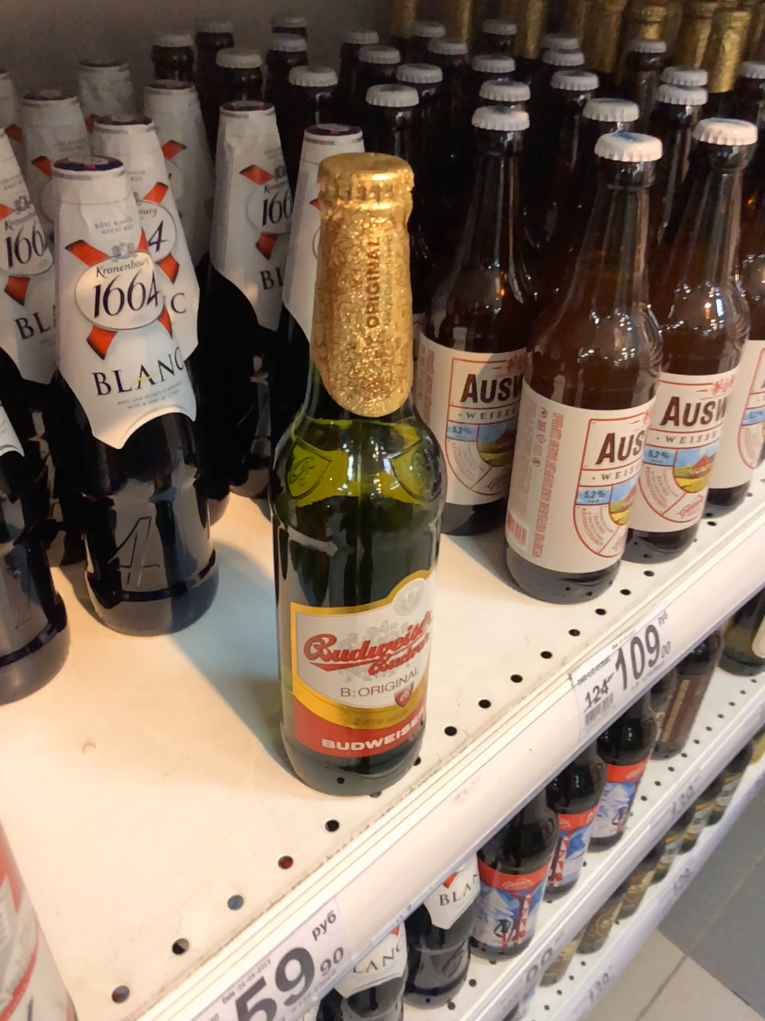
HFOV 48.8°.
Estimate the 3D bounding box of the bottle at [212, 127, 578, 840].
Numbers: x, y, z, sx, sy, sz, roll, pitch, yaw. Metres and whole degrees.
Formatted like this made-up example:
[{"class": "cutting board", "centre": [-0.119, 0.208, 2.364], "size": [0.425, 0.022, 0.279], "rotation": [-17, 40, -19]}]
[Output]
[{"class": "bottle", "centre": [-0.004, 0.005, 0.314], "size": [0.080, 0.254, 0.070], "rotation": [-15, 40, -23]}]
